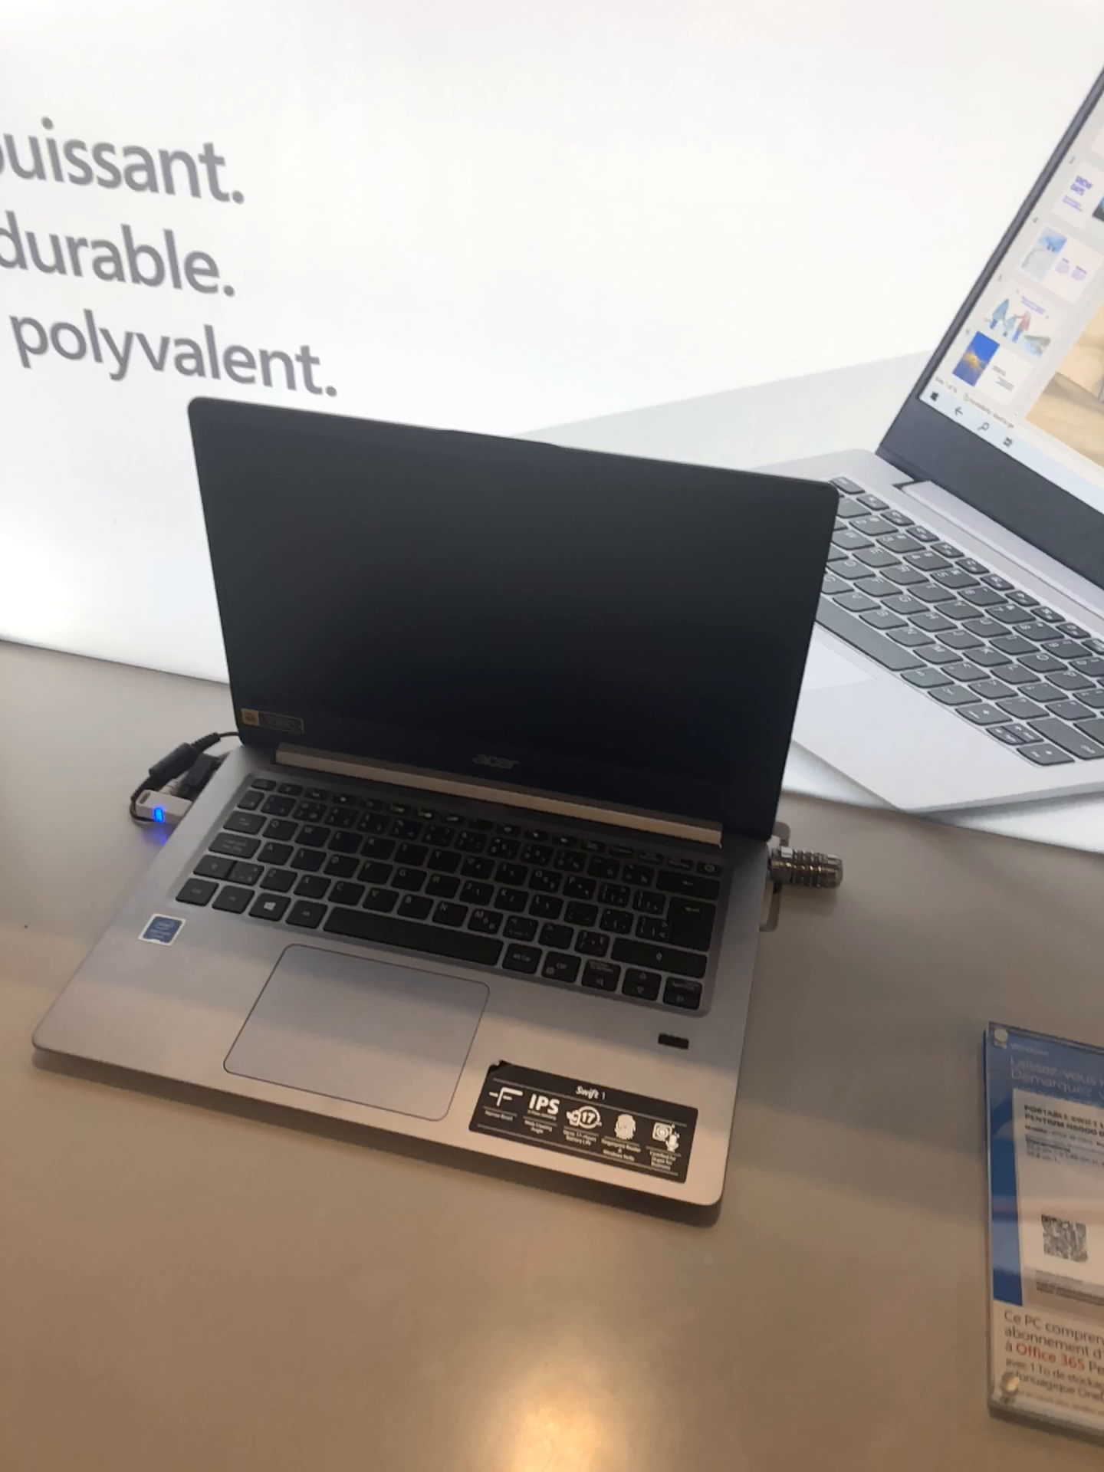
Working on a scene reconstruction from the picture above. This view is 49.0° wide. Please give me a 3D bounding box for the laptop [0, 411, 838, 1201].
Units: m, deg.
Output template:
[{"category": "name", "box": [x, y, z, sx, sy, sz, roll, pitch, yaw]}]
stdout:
[{"category": "laptop", "box": [-0.053, 0.016, 0.549, 0.311, 0.210, 0.227, 10, 39, 10]}]
